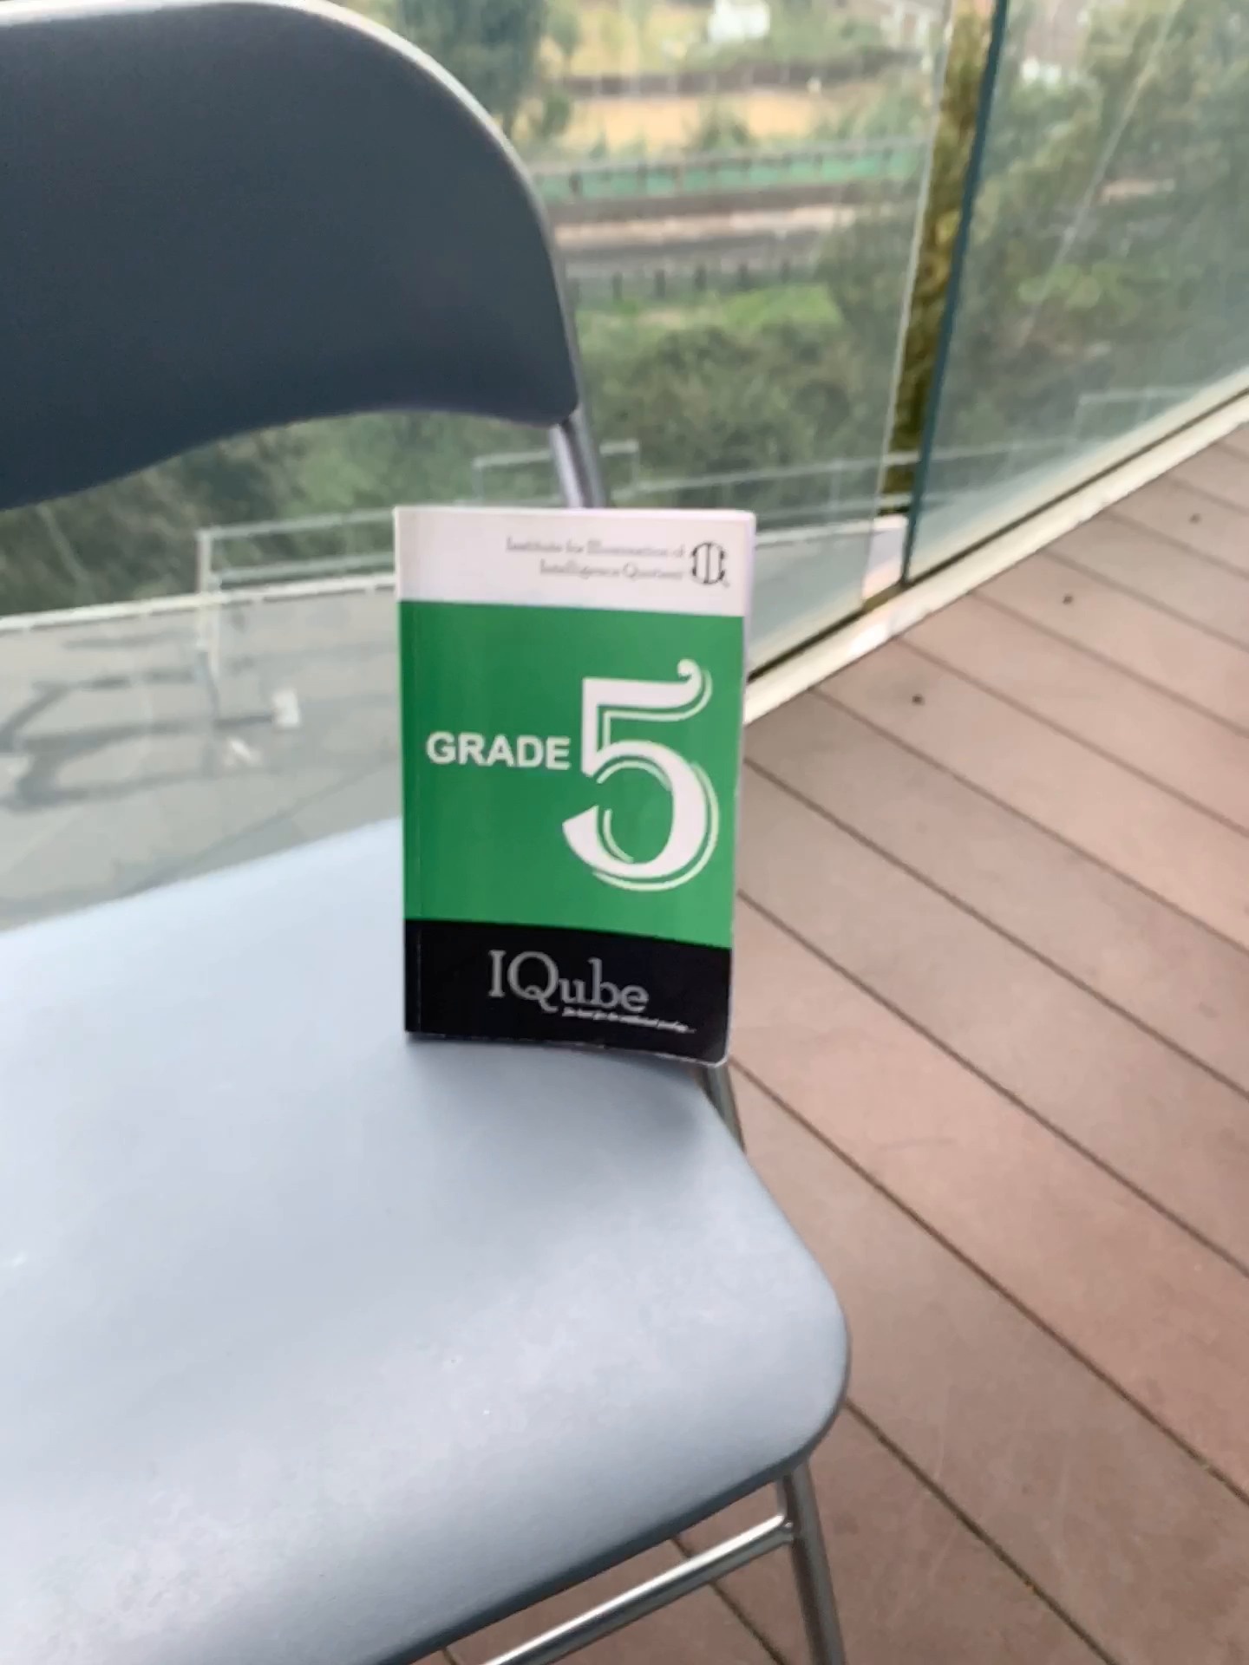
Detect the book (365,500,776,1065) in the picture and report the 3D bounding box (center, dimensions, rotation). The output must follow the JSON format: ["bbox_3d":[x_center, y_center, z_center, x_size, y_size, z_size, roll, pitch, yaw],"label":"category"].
[{"bbox_3d":[-0.020,-0.021,0.508,0.150,0.209,0.040,2,11,8],"label":"book"}]
